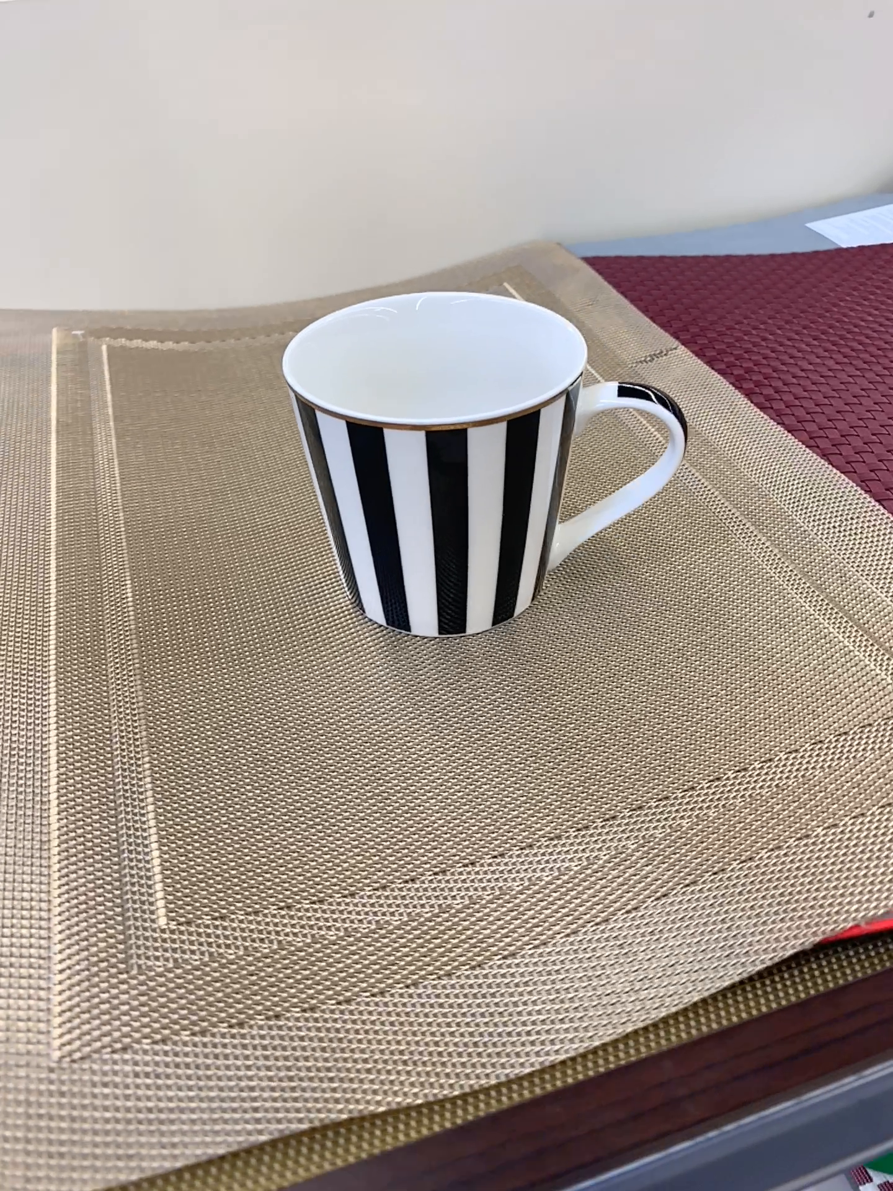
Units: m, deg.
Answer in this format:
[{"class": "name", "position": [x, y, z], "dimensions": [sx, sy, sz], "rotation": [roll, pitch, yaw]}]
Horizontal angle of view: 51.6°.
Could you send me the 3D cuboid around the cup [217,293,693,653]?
[{"class": "cup", "position": [0.009, -0.047, 0.312], "dimensions": [0.130, 0.080, 0.100], "rotation": [3, 35, 9]}]
